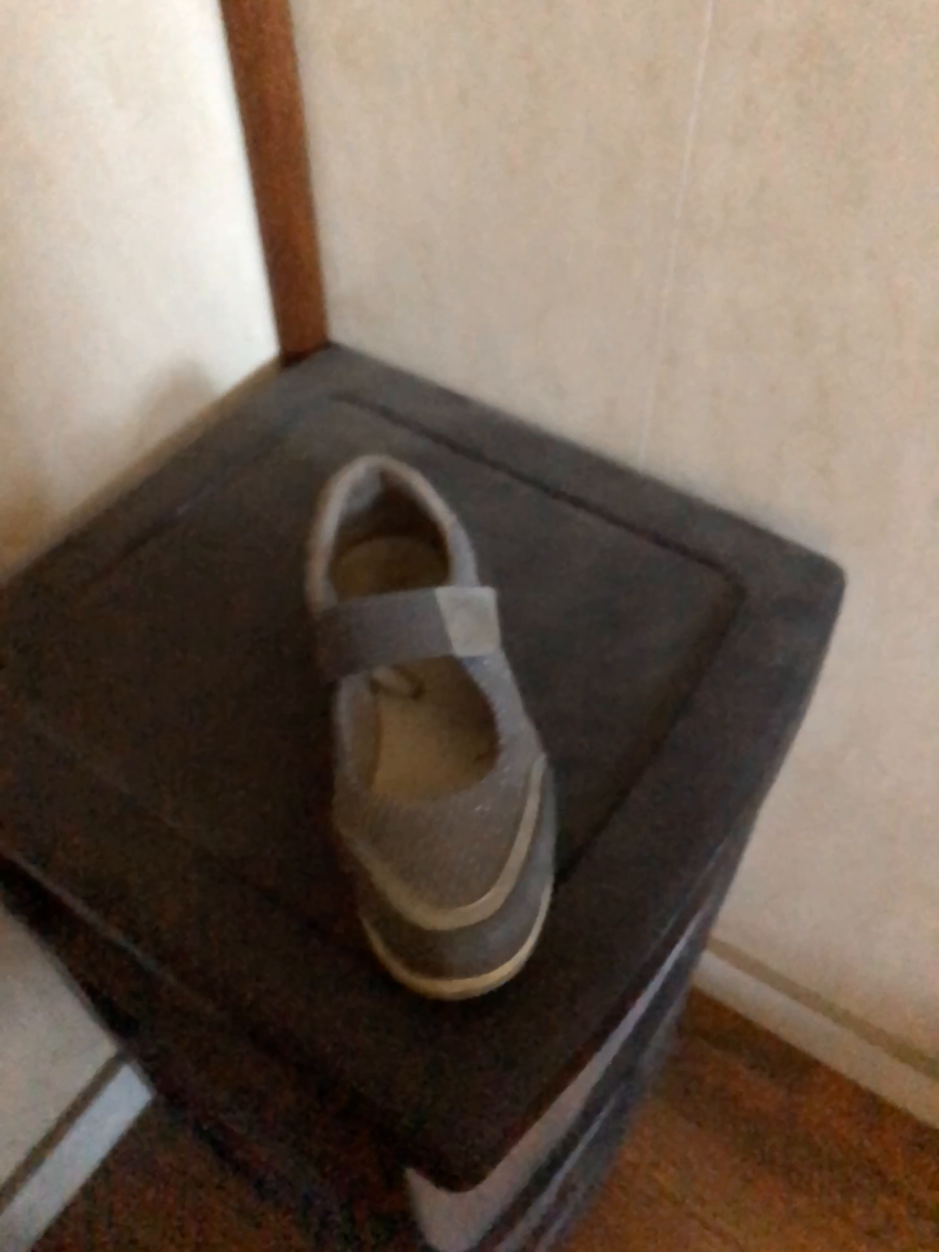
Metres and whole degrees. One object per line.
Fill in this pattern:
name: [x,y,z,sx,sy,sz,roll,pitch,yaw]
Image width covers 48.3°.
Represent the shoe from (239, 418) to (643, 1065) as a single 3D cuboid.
shoe: [-0.025,0.032,0.454,0.110,0.080,0.261,-11,52,-8]
